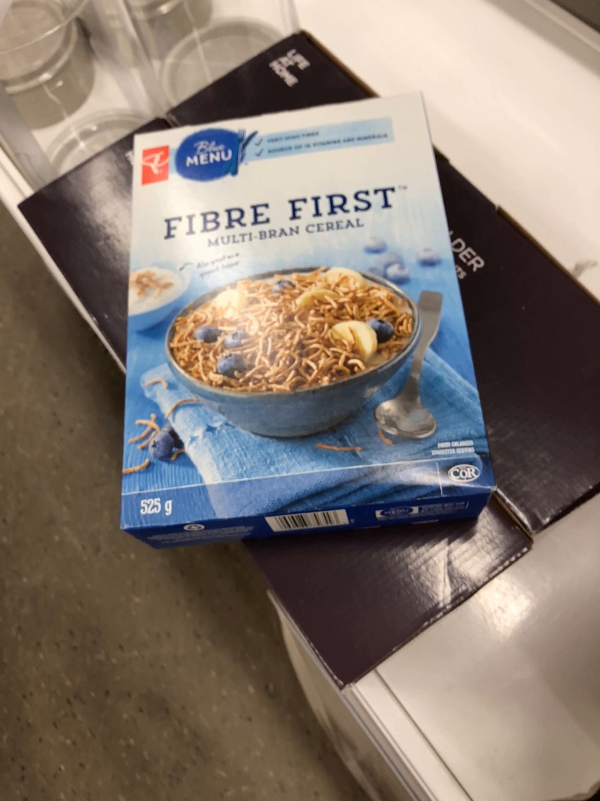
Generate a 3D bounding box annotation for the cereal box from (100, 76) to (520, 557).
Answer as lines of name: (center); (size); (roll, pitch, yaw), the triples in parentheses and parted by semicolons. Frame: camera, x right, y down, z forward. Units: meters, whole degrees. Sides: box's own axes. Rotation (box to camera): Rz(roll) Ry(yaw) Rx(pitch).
cereal box: (-0.004, -0.054, 0.394); (0.200, 0.060, 0.260); (-6, 68, 5)
